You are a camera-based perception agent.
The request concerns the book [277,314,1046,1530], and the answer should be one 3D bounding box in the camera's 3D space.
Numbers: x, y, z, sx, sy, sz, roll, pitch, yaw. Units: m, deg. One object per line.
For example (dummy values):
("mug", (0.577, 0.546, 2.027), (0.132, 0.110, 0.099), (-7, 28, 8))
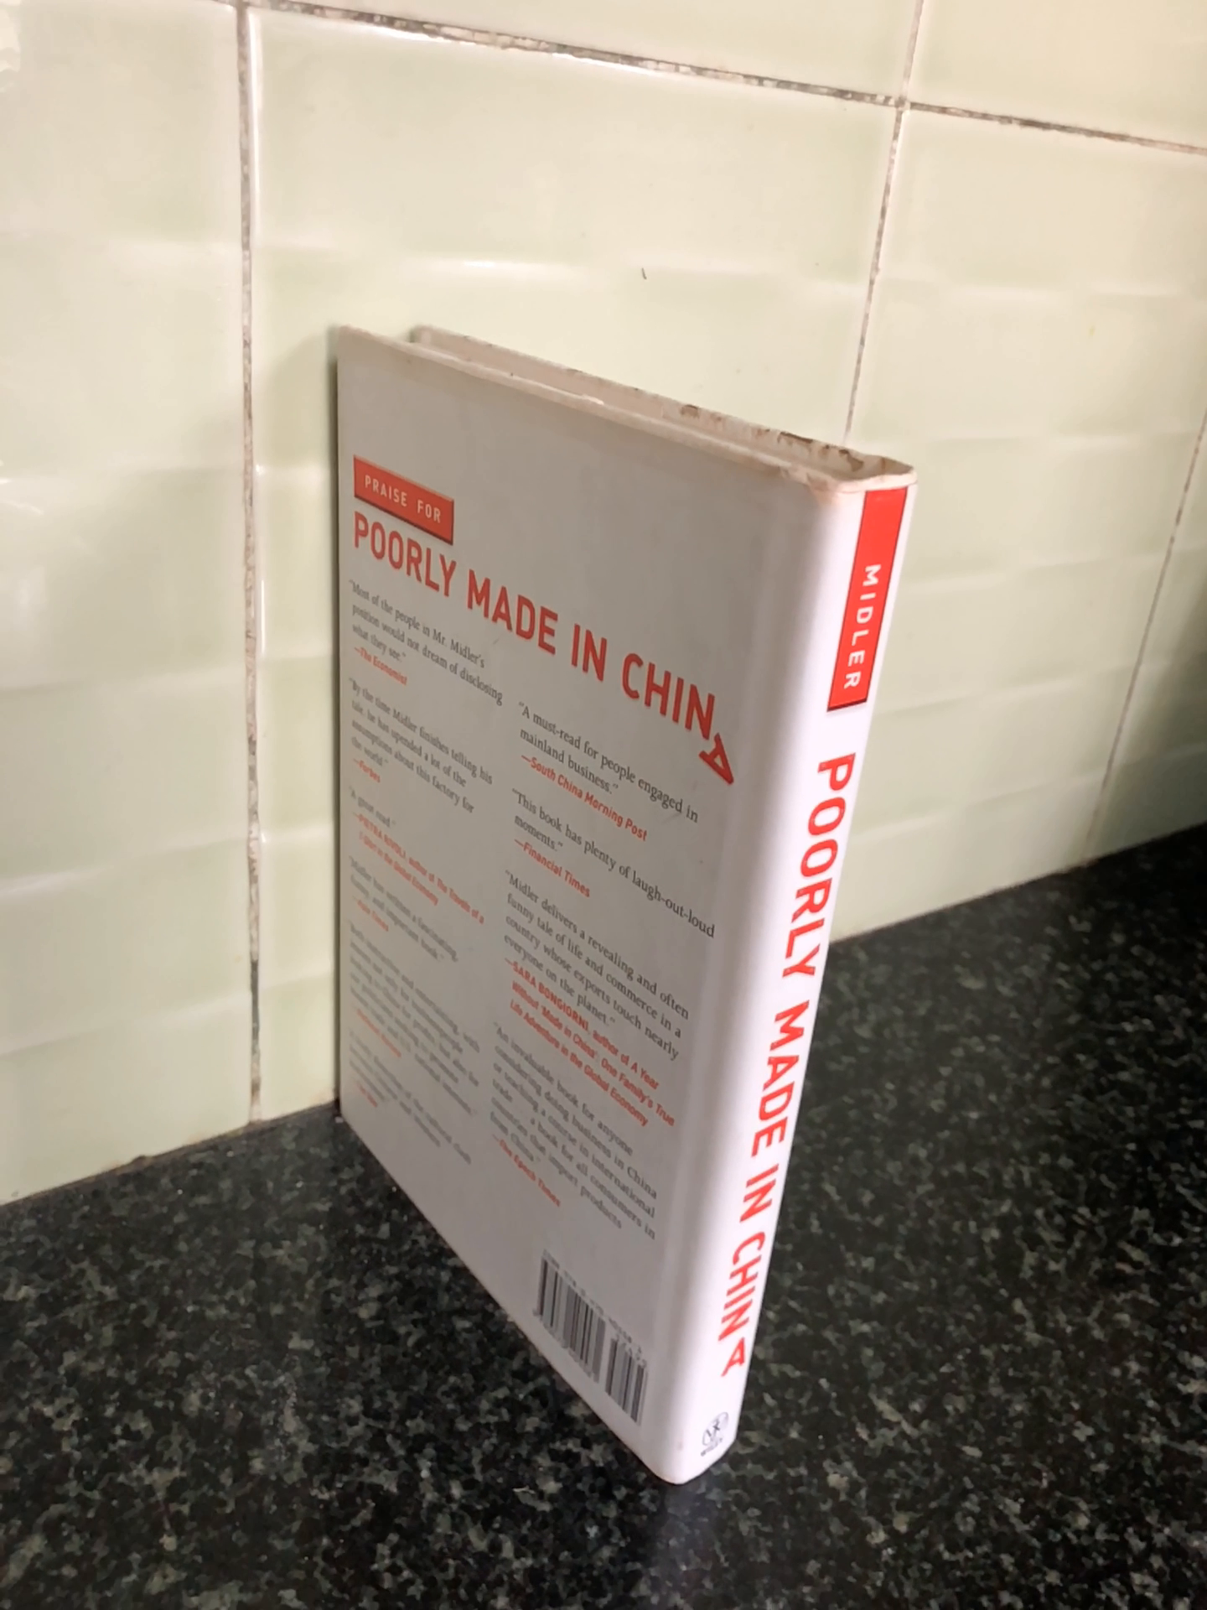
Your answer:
("book", (-0.014, 0.014, 0.318), (0.040, 0.219, 0.190), (-14, 32, -37))
